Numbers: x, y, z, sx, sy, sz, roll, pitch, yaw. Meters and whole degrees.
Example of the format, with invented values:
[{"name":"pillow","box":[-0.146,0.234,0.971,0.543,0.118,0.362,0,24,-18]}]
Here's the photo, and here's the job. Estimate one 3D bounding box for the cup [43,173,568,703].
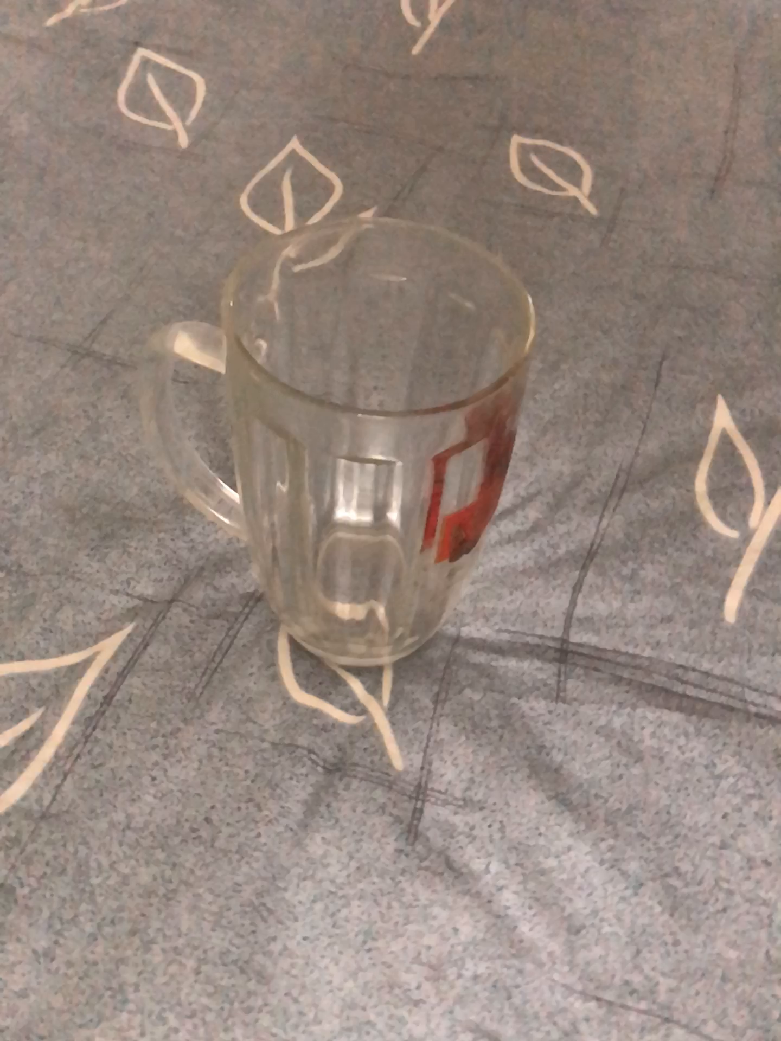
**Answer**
[{"name":"cup","box":[-0.021,-0.025,0.308,0.127,0.136,0.091,17,55,13]}]
